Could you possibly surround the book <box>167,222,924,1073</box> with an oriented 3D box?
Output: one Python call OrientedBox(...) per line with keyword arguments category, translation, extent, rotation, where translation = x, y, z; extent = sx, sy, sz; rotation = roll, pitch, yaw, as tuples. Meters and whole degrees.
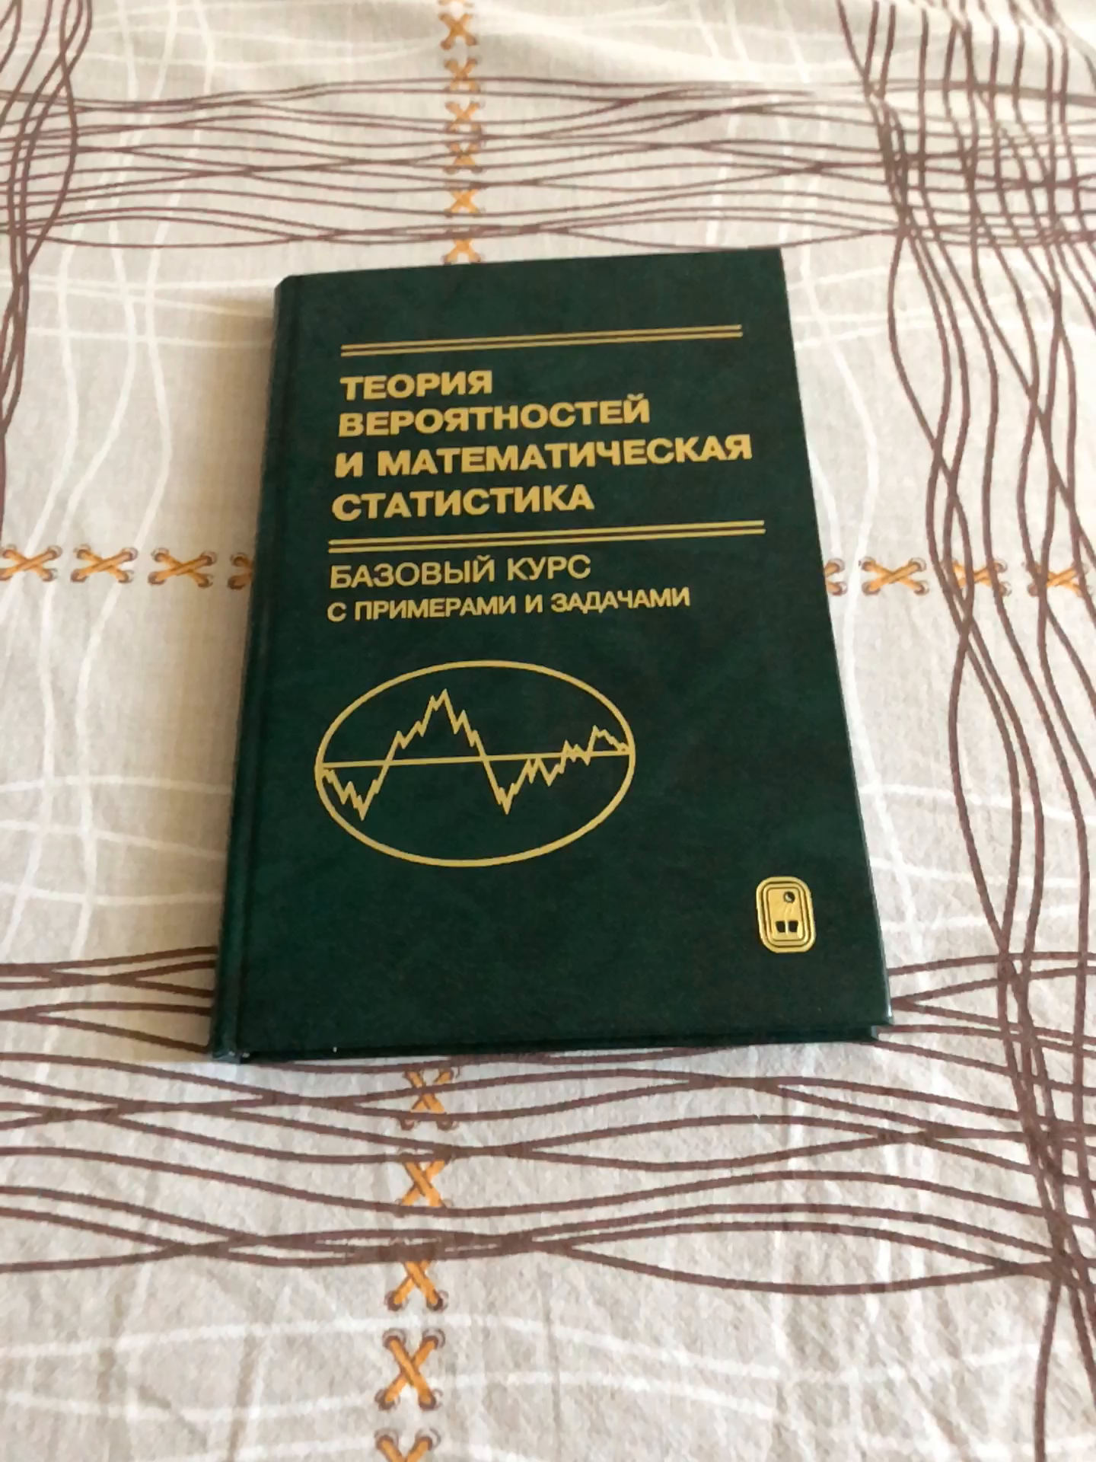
OrientedBox(category="book", translation=(-0.003, -0.032, 0.300), extent=(0.150, 0.030, 0.217), rotation=(-2, 65, 1))
